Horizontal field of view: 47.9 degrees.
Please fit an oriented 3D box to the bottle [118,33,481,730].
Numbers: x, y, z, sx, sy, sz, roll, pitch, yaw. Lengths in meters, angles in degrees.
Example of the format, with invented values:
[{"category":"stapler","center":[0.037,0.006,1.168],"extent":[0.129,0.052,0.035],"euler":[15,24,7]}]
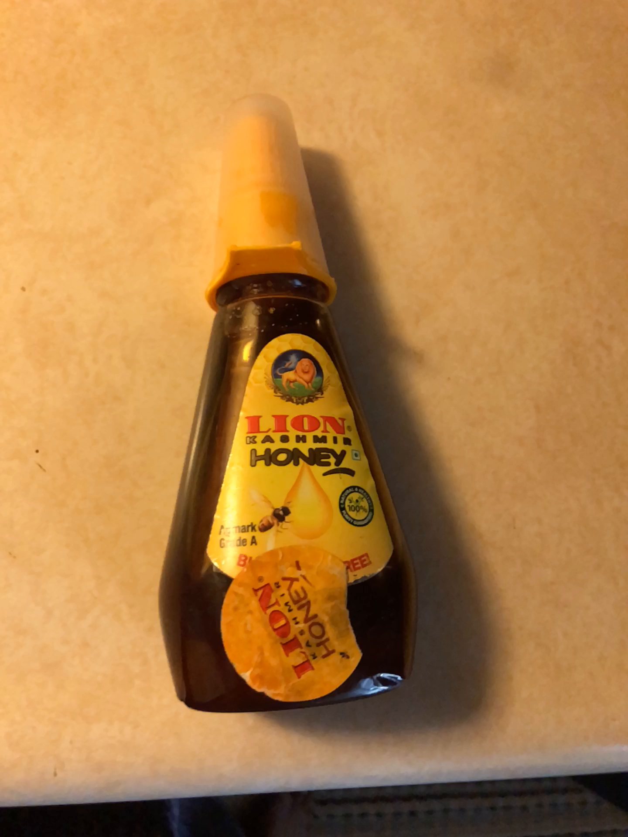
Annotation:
[{"category":"bottle","center":[-0.011,-0.015,0.221],"extent":[0.090,0.050,0.190],"euler":[-2,80,-11]}]
